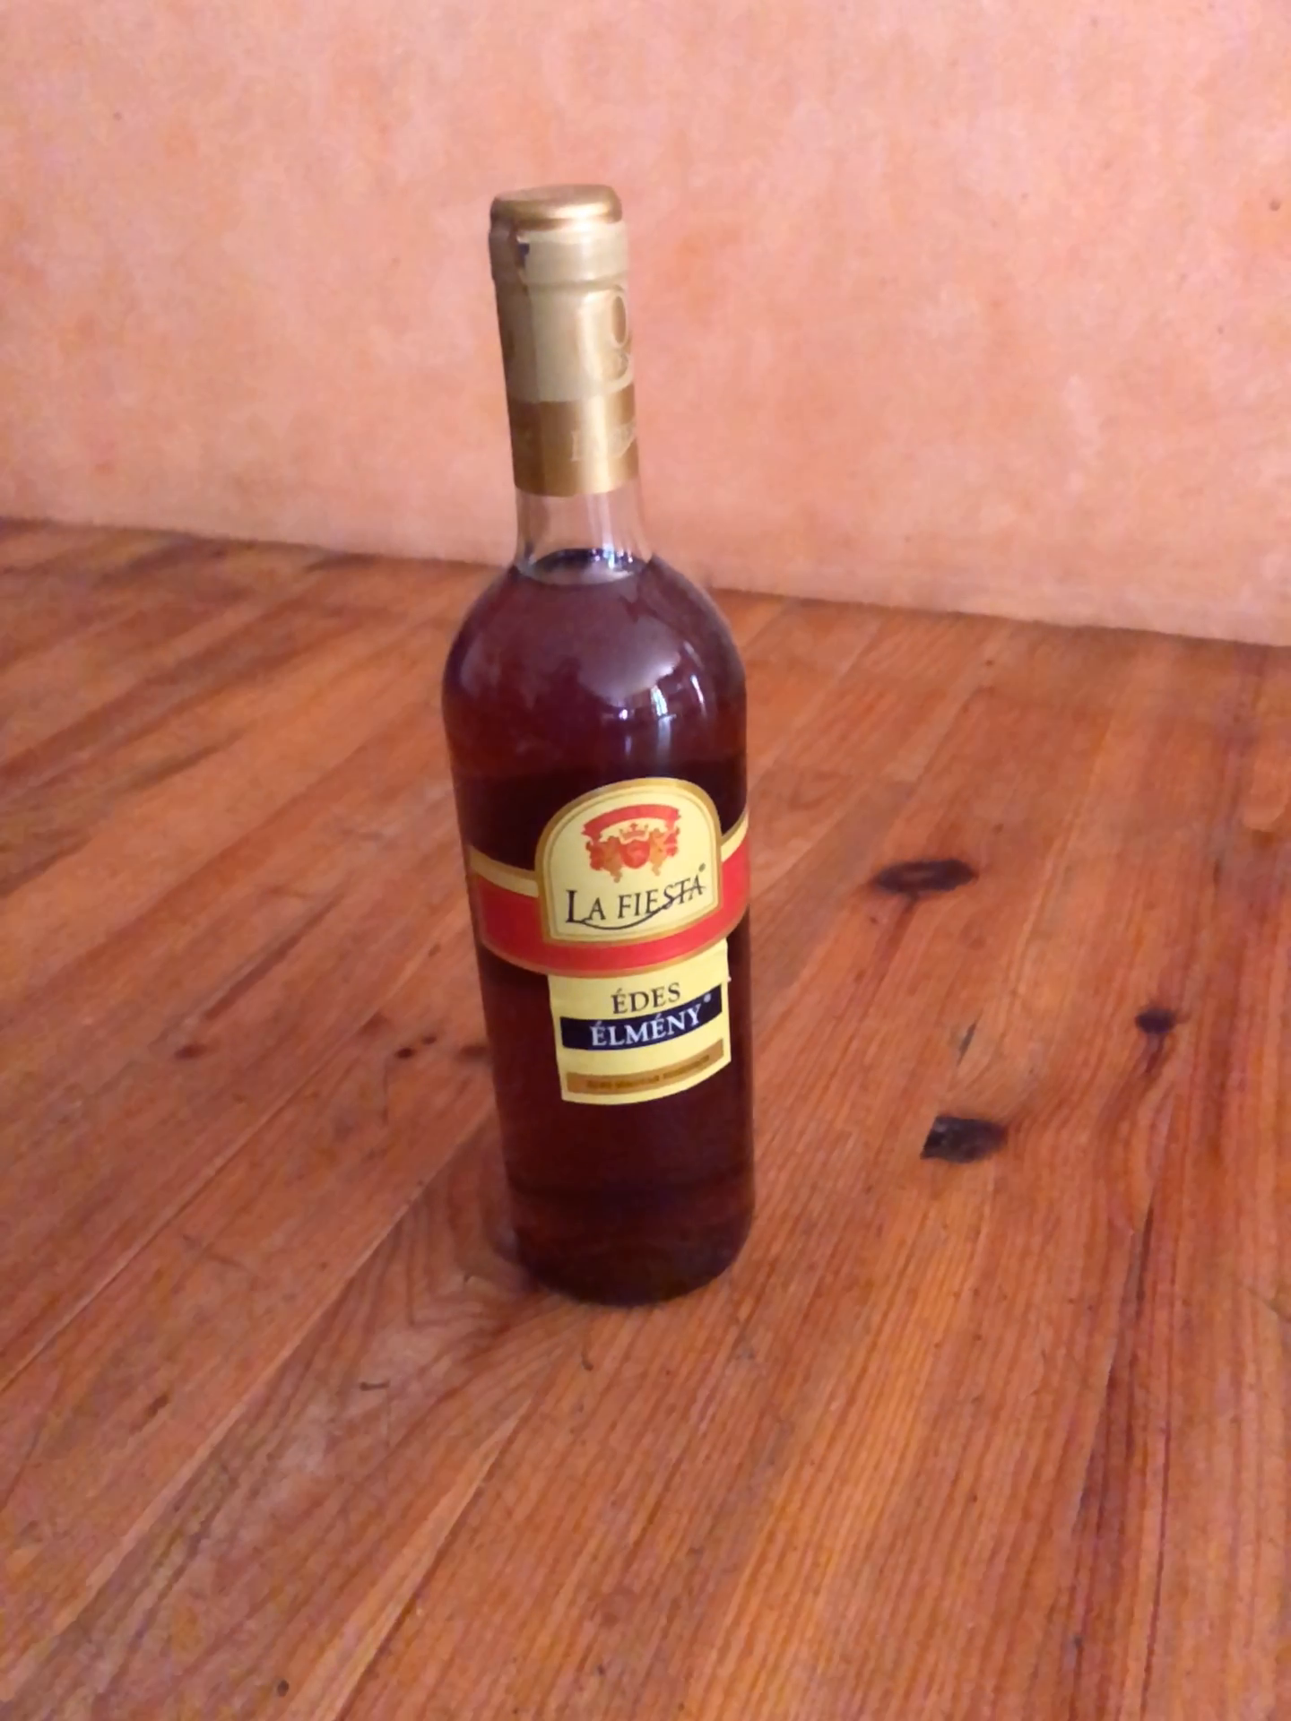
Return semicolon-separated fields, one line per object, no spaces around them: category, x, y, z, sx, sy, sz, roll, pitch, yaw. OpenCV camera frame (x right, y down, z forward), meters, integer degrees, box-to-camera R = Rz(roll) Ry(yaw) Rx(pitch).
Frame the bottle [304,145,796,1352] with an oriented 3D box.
bottle;-0.016;-0.015;0.363;0.080;0.288;0.080;-4;30;2
